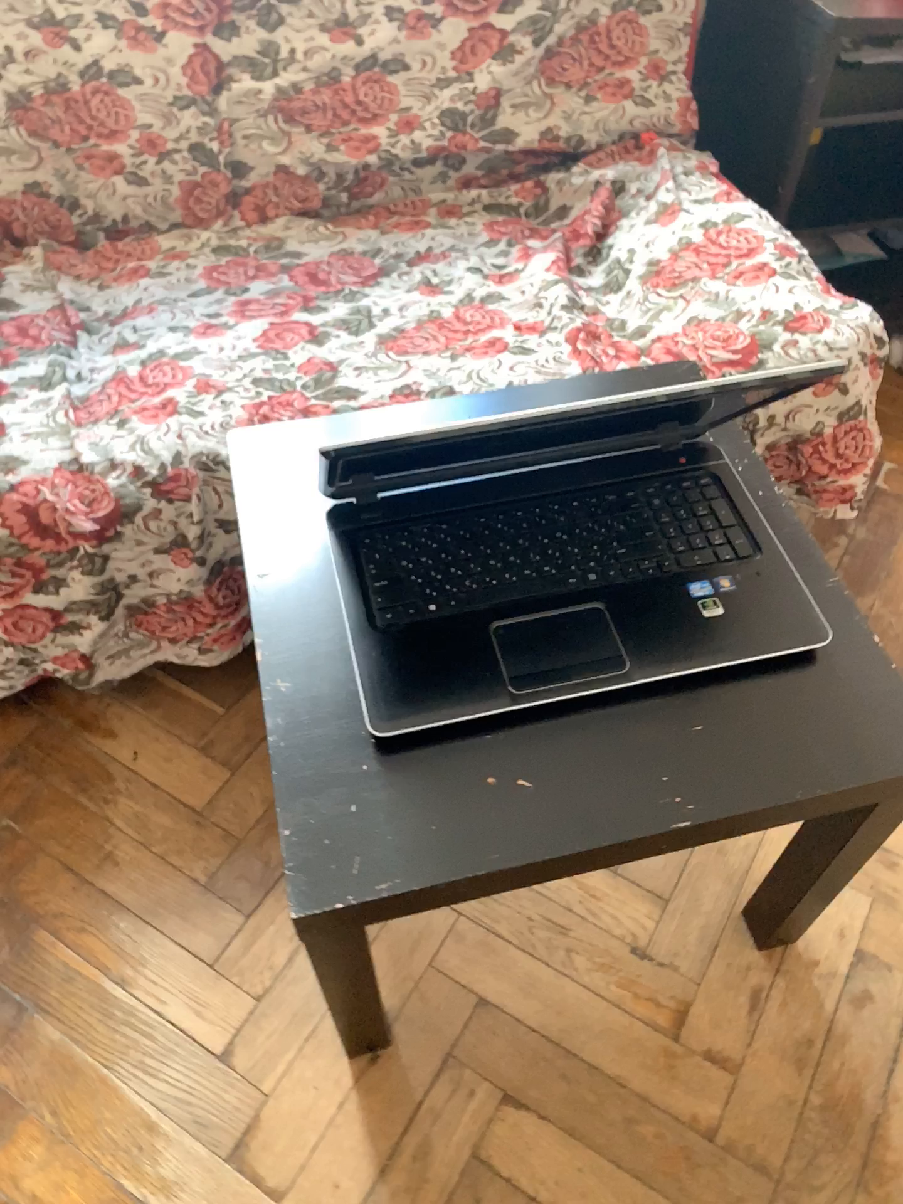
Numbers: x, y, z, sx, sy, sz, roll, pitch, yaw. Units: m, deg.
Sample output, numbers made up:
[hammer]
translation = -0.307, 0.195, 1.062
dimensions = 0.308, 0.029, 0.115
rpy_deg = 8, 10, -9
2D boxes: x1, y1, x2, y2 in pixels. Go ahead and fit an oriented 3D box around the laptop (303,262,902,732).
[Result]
[laptop]
translation = 0.107, -0.096, 0.777
dimensions = 0.404, 0.201, 0.258
rpy_deg = -11, 53, -9
